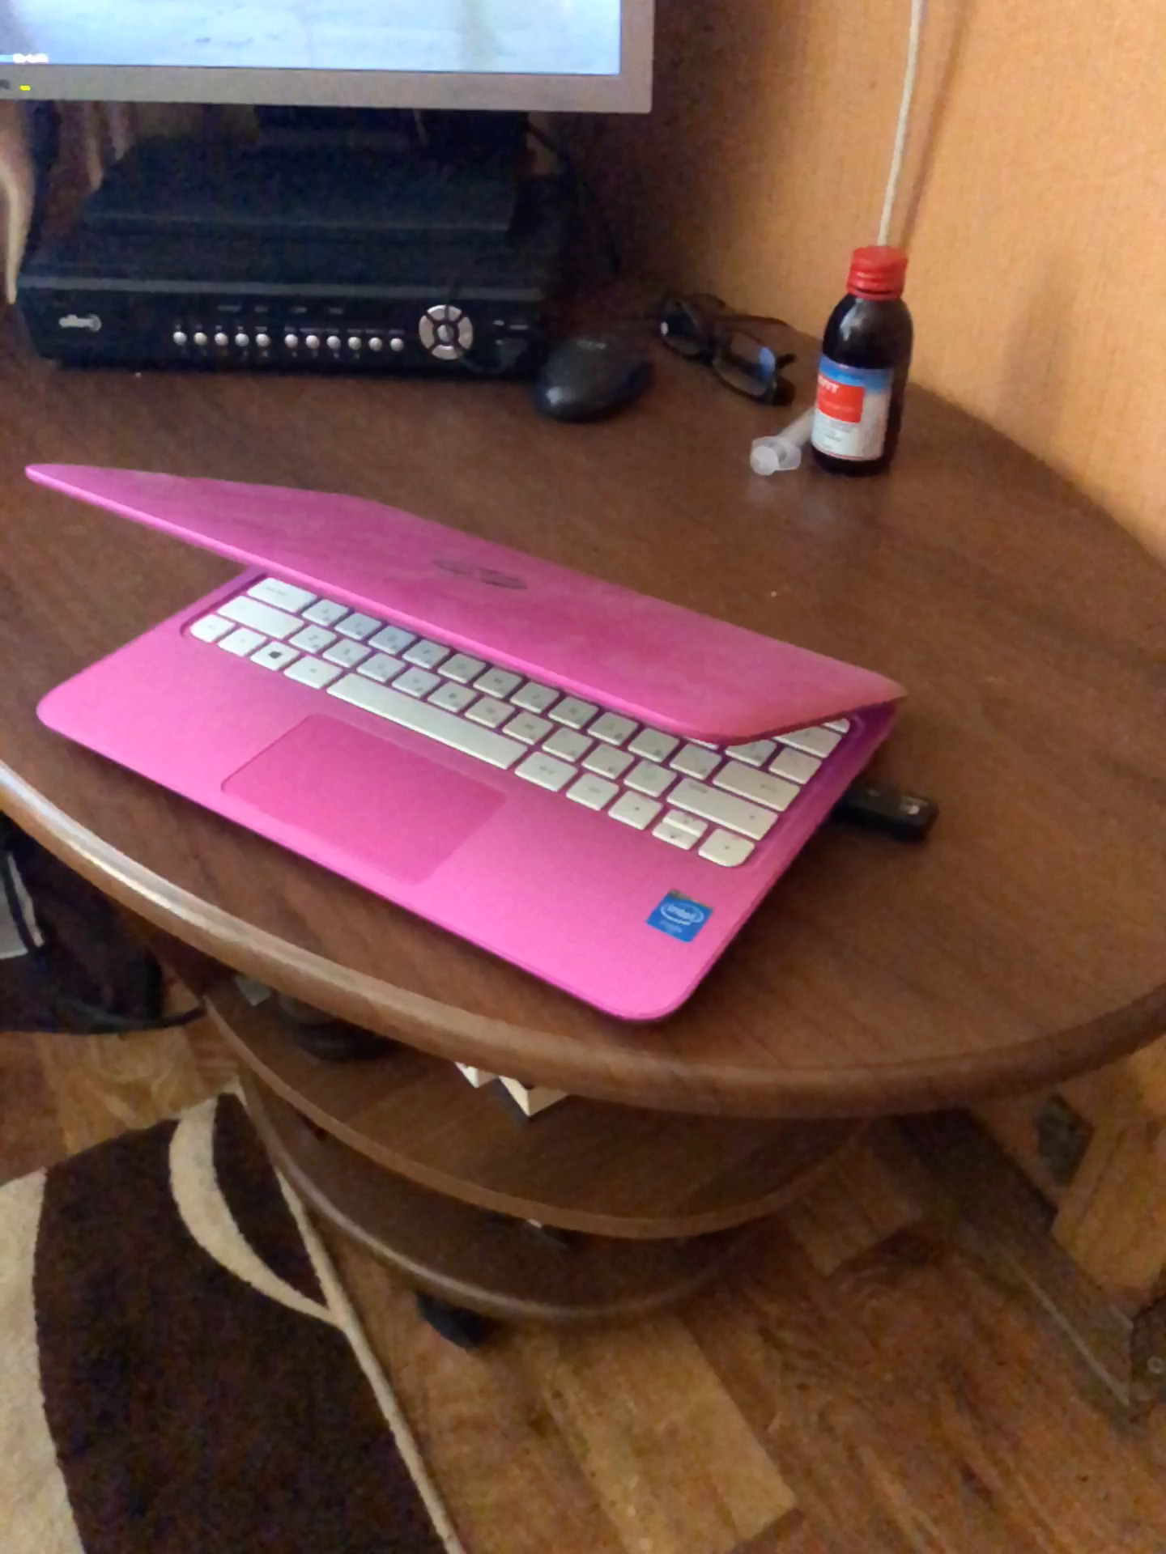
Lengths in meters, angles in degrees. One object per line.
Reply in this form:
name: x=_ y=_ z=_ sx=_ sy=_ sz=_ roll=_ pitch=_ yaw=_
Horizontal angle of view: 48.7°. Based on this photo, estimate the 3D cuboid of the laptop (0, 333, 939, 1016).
laptop: x=-0.041 y=-0.060 z=0.455 sx=0.264 sy=0.081 sz=0.187 roll=23 pitch=45 yaw=25
